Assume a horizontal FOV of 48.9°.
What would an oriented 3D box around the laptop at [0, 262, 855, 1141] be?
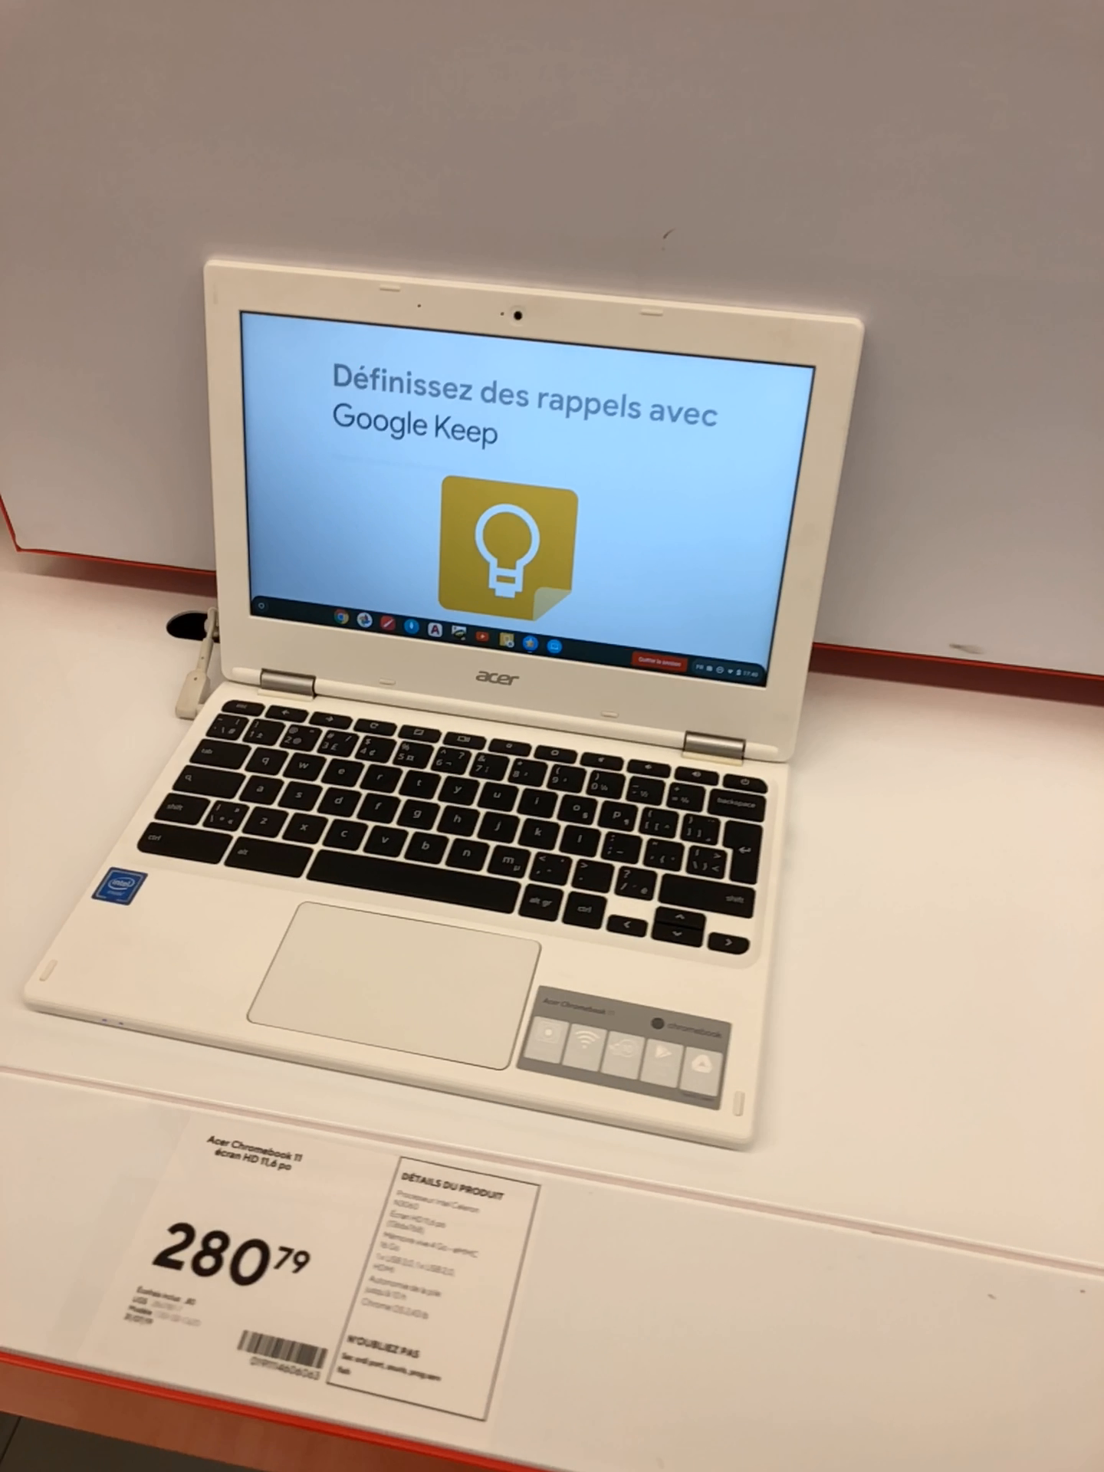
[{"bbox_3d":[-0.043,-0.032,0.482,0.282,0.188,0.260,8,44,9],"label":"laptop"}]
